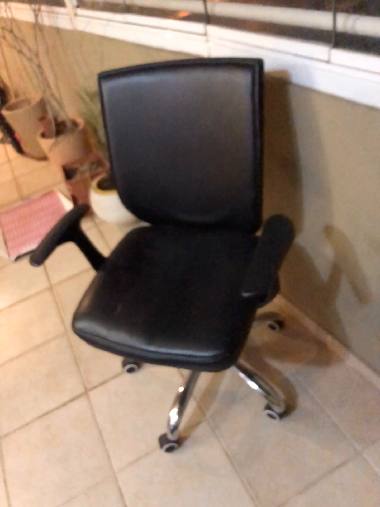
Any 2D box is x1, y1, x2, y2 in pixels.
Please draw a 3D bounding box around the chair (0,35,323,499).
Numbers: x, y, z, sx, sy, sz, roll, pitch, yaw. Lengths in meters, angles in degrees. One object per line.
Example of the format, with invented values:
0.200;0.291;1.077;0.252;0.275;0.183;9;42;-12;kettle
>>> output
-0.037;0.042;1.172;0.661;0.933;0.664;7;45;25;chair
